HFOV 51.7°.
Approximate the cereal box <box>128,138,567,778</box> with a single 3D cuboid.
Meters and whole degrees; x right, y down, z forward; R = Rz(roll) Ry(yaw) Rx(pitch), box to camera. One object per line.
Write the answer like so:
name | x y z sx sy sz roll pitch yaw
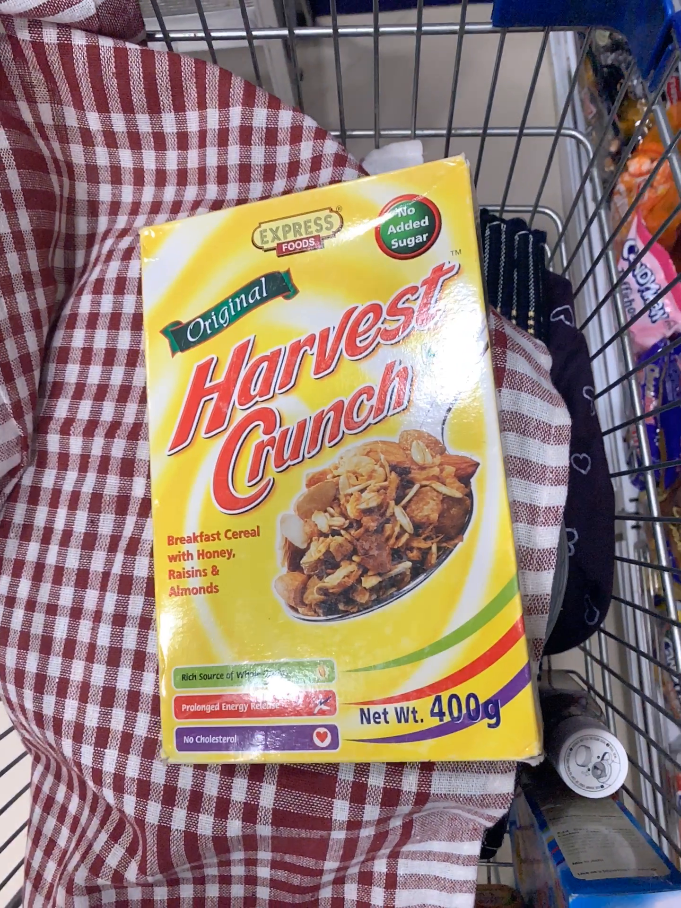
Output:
cereal box | -0.001 0.006 0.284 0.150 0.050 0.220 -7 83 16
